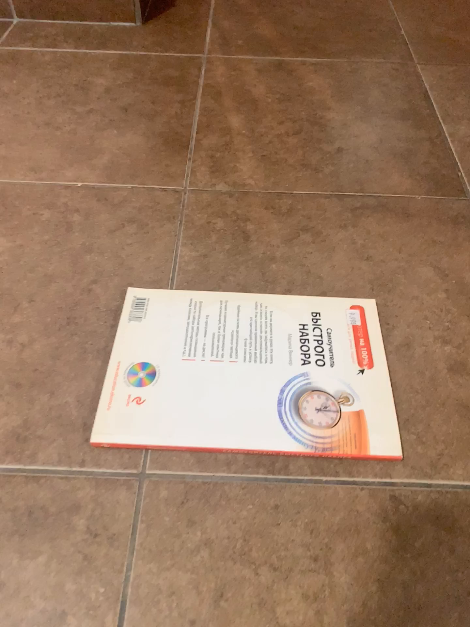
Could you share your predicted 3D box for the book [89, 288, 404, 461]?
[{"bbox_3d":[0.010,0.039,0.365,0.210,0.009,0.135,3,52,1],"label":"book"}]
